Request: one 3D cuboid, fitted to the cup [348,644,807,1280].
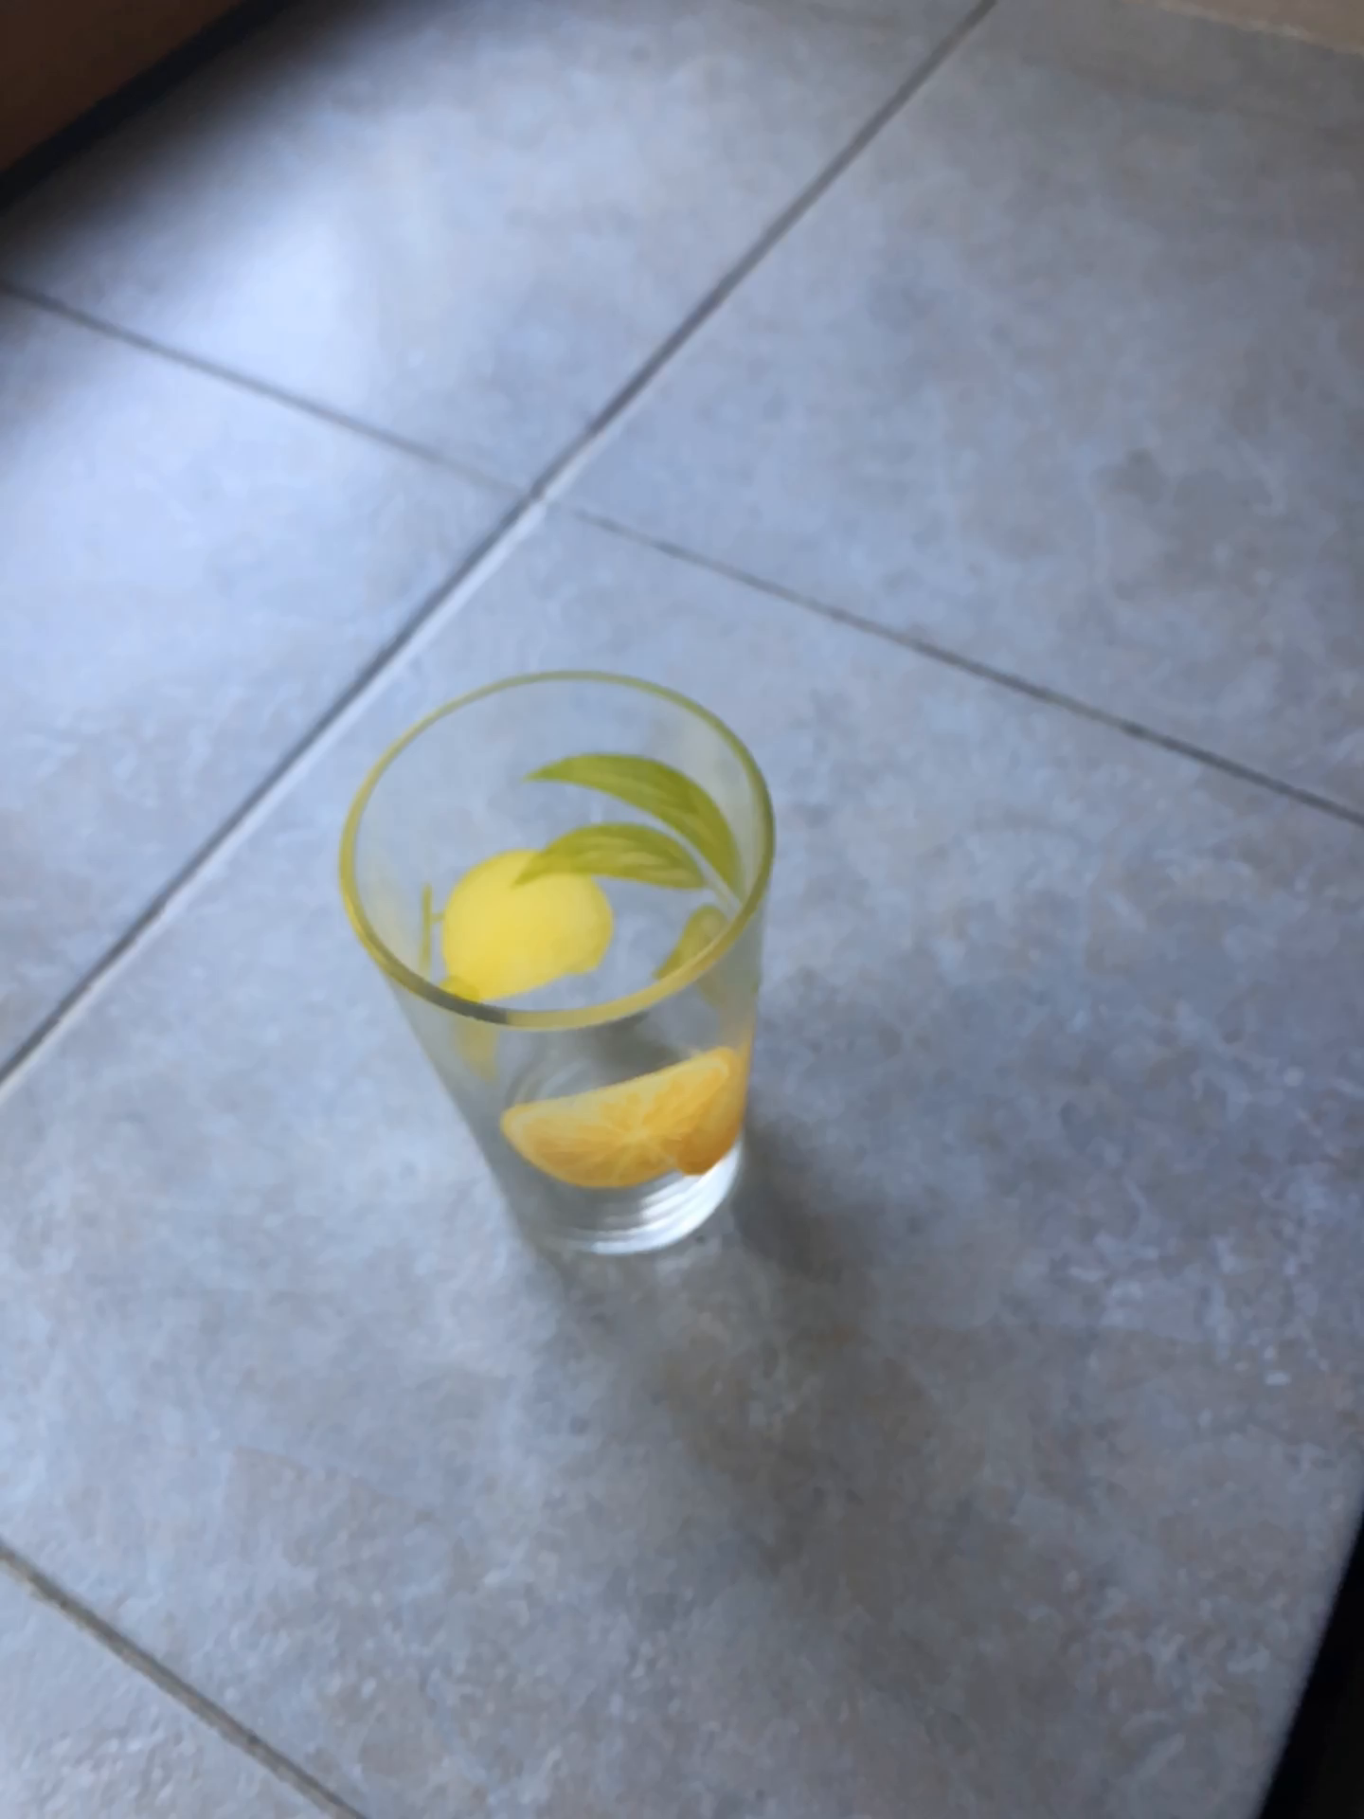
[{"bbox_3d":[-0.018,0.016,0.297,0.069,0.112,0.070,0,57,0],"label":"cup"}]
